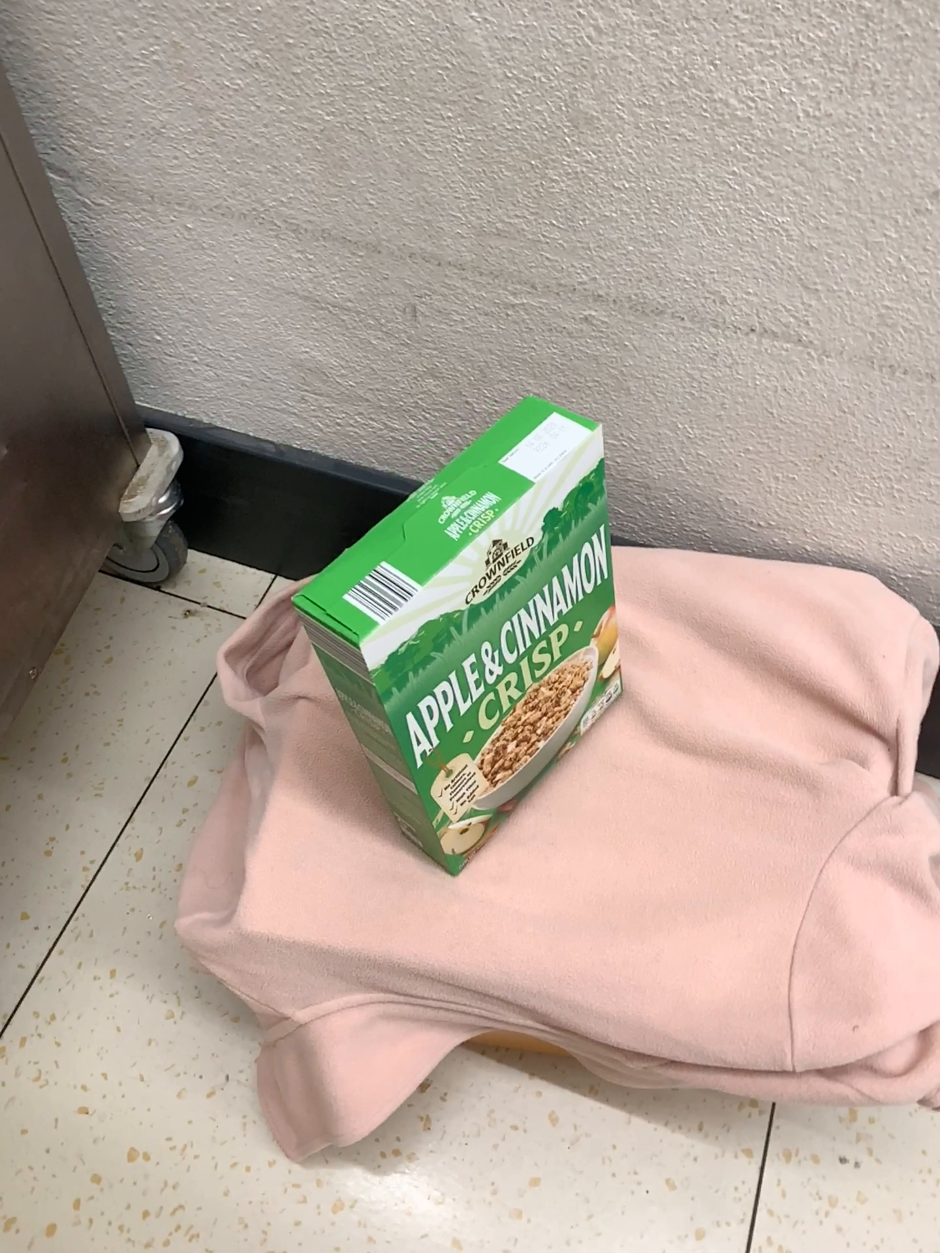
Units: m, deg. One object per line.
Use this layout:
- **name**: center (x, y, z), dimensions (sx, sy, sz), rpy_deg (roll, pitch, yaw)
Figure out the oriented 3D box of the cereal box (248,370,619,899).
- **cereal box**: center (0.002, 0.018, 0.559), dimensions (0.060, 0.258, 0.191), rpy_deg (32, 63, 30)
